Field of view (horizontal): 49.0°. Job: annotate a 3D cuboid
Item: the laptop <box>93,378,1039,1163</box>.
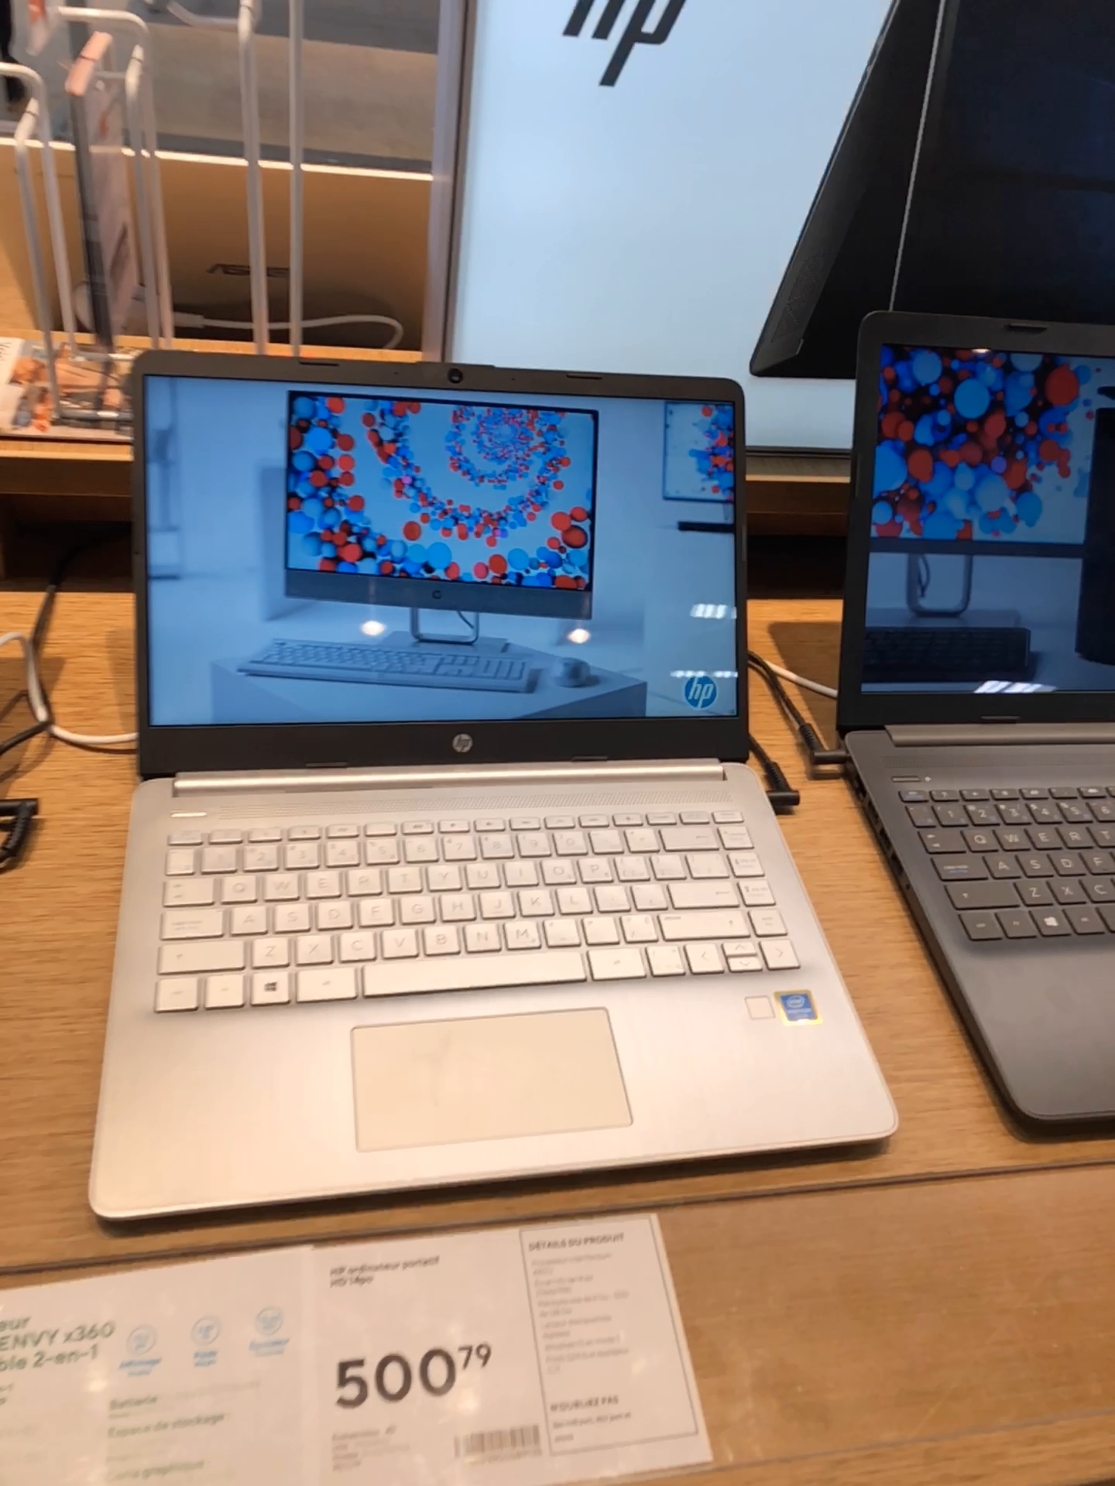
[{"bbox_3d":[-0.024,-0.017,0.576,0.308,0.167,0.348,-2,41,-10],"label":"laptop"}]
